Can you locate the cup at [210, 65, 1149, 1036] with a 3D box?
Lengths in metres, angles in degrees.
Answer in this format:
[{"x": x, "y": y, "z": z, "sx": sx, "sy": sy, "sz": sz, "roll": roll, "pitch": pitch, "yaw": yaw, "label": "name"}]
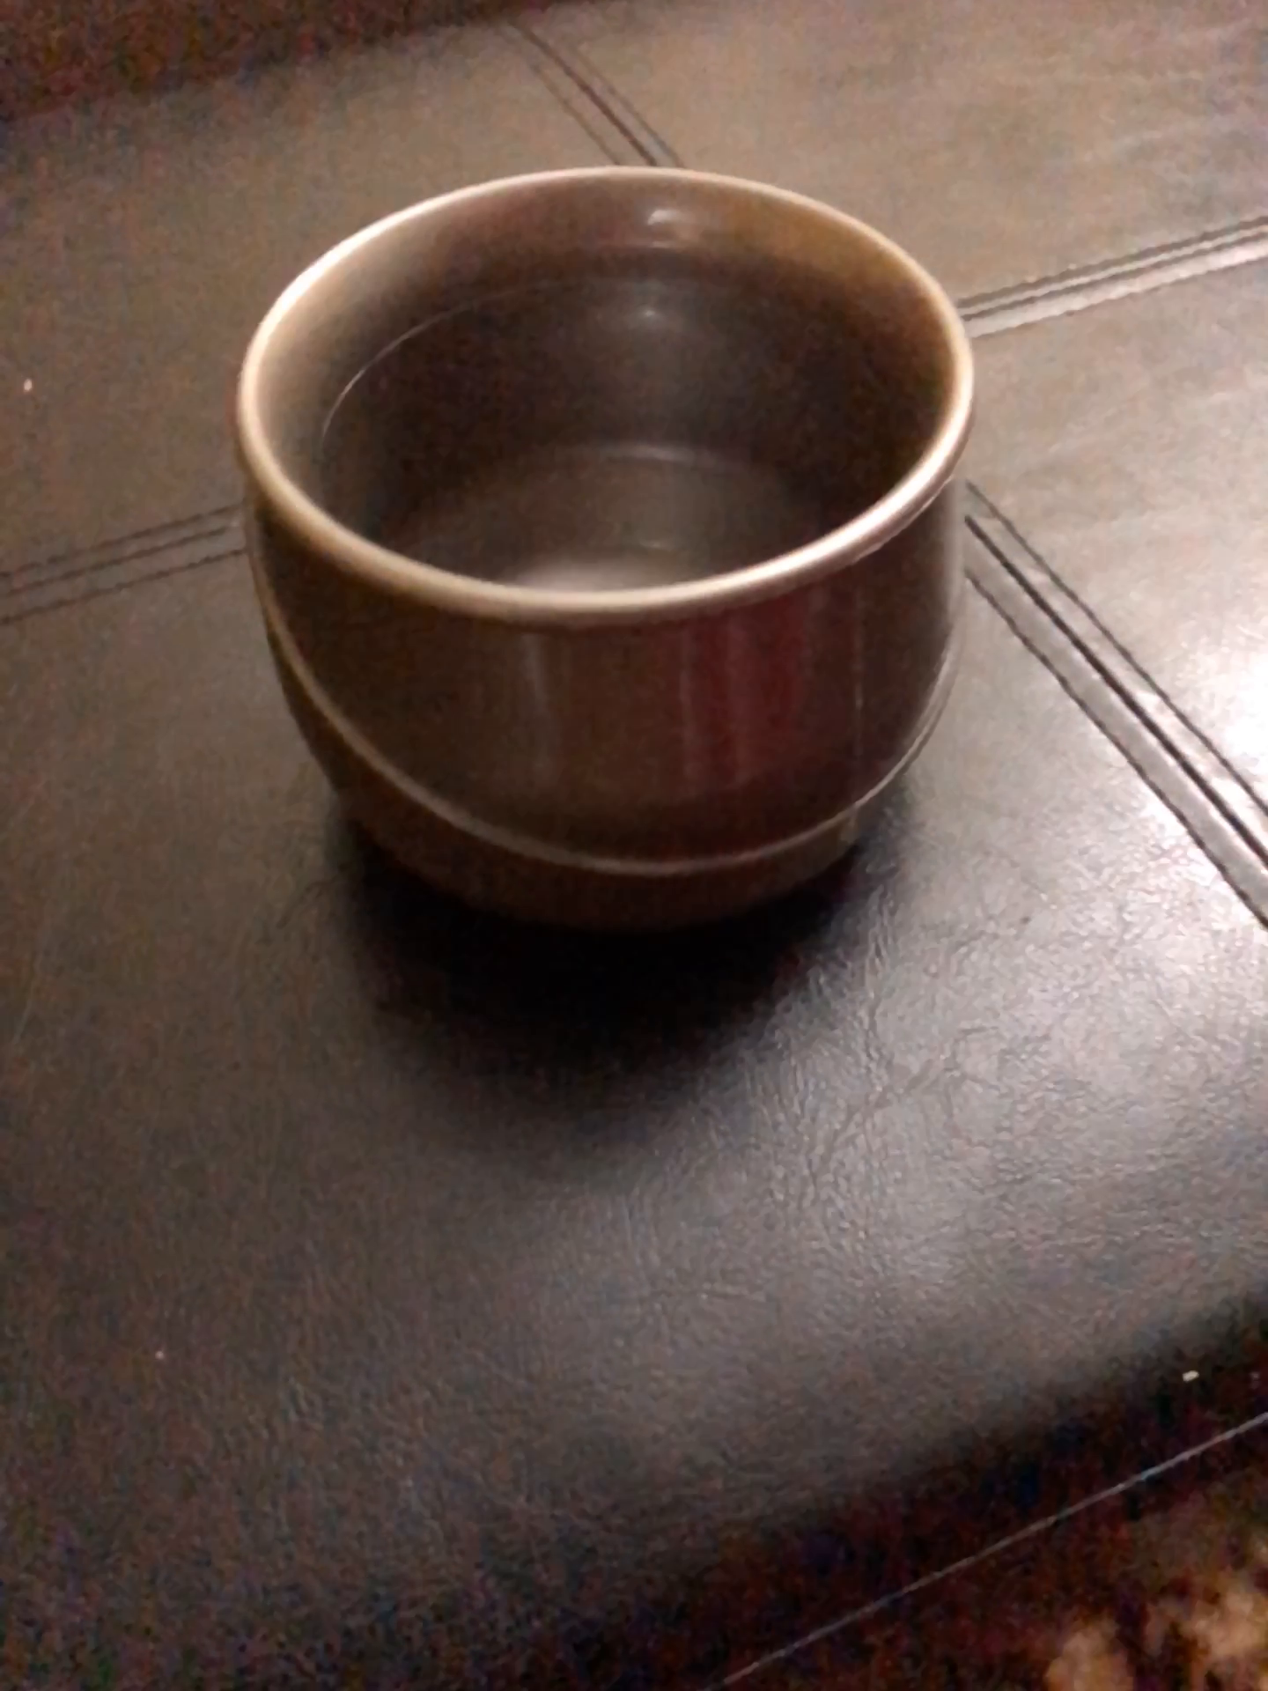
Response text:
[{"x": -0.002, "y": -0.039, "z": 0.178, "sx": 0.083, "sy": 0.066, "sz": 0.091, "roll": 0, "pitch": 53, "yaw": 1, "label": "cup"}]
